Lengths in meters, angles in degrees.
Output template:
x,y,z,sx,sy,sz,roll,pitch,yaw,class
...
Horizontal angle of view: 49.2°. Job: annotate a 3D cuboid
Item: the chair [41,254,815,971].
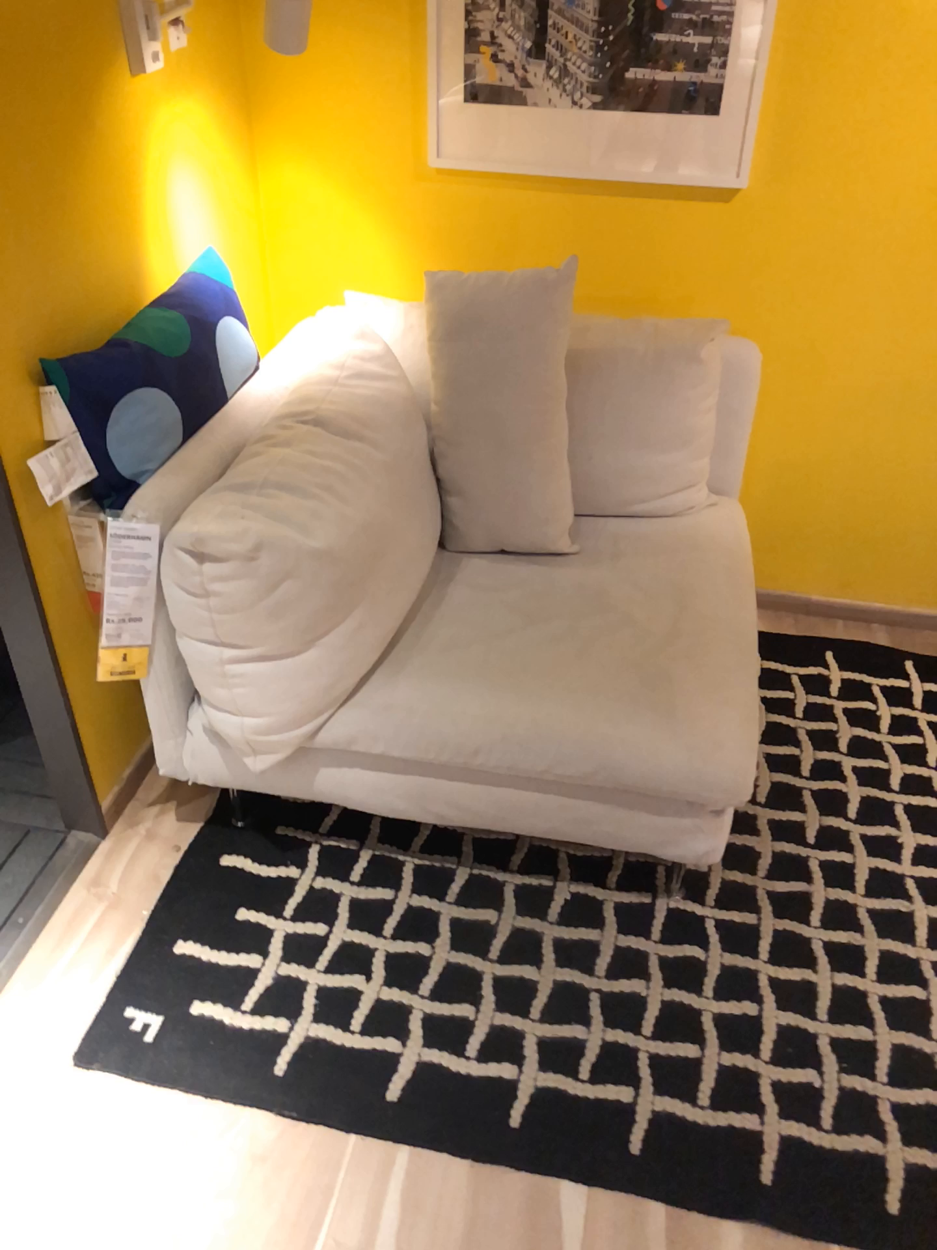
x,y,z,sx,sy,sz,roll,pitch,yaw,class
0.029,-0.130,1.964,1.010,0.755,1.117,7,36,9,chair
